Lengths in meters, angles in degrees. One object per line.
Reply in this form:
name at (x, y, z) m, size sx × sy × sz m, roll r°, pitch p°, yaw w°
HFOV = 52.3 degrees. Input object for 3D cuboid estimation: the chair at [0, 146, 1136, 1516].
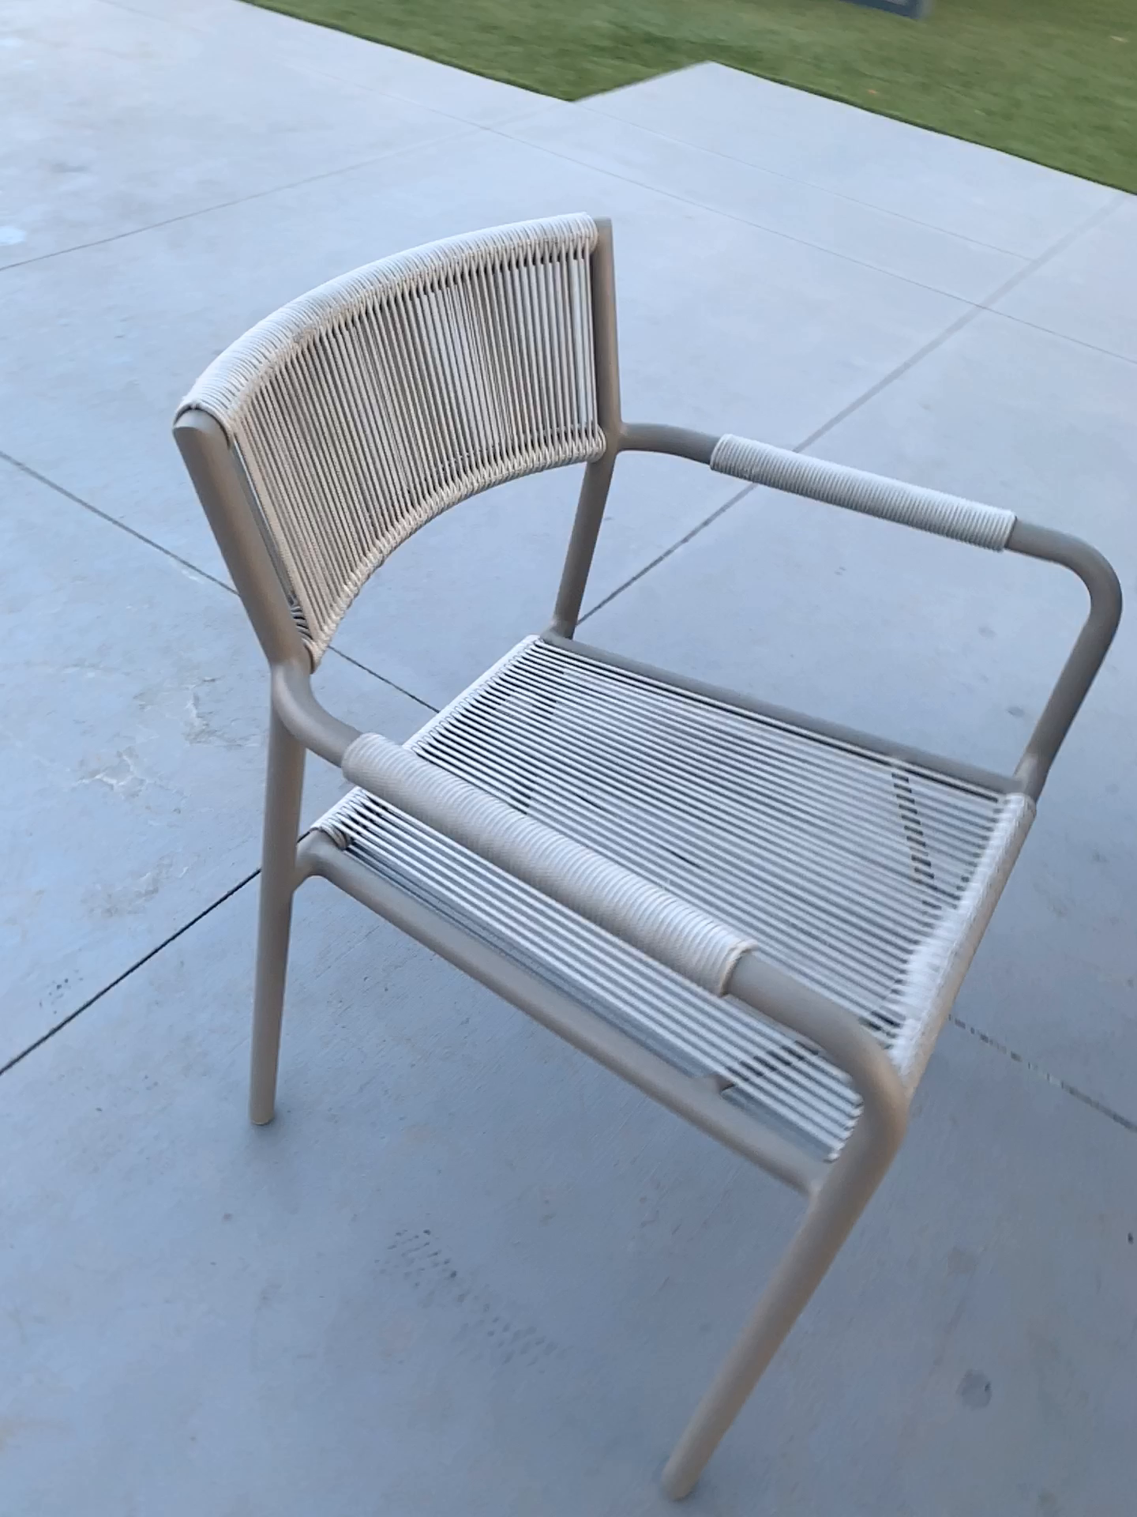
chair at (0.072, 0.038, 0.989) m, size 0.601 × 0.767 × 0.672 m, roll 25°, pitch 46°, yaw 18°
